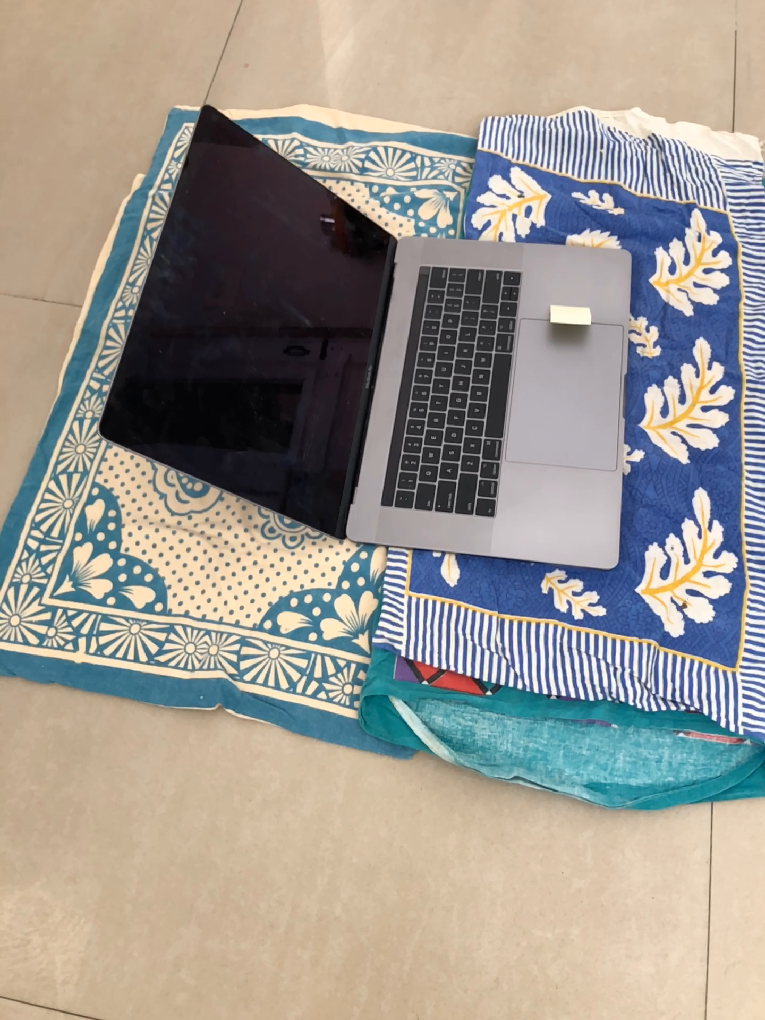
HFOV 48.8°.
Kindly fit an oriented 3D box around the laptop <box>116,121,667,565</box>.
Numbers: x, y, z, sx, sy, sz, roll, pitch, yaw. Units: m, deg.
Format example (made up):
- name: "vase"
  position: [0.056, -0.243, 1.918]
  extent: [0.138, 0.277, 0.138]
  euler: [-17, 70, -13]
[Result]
- name: "laptop"
  position: [0.023, -0.154, 0.743]
  extent: [0.401, 0.132, 0.337]
  euler: [7, 66, 6]
